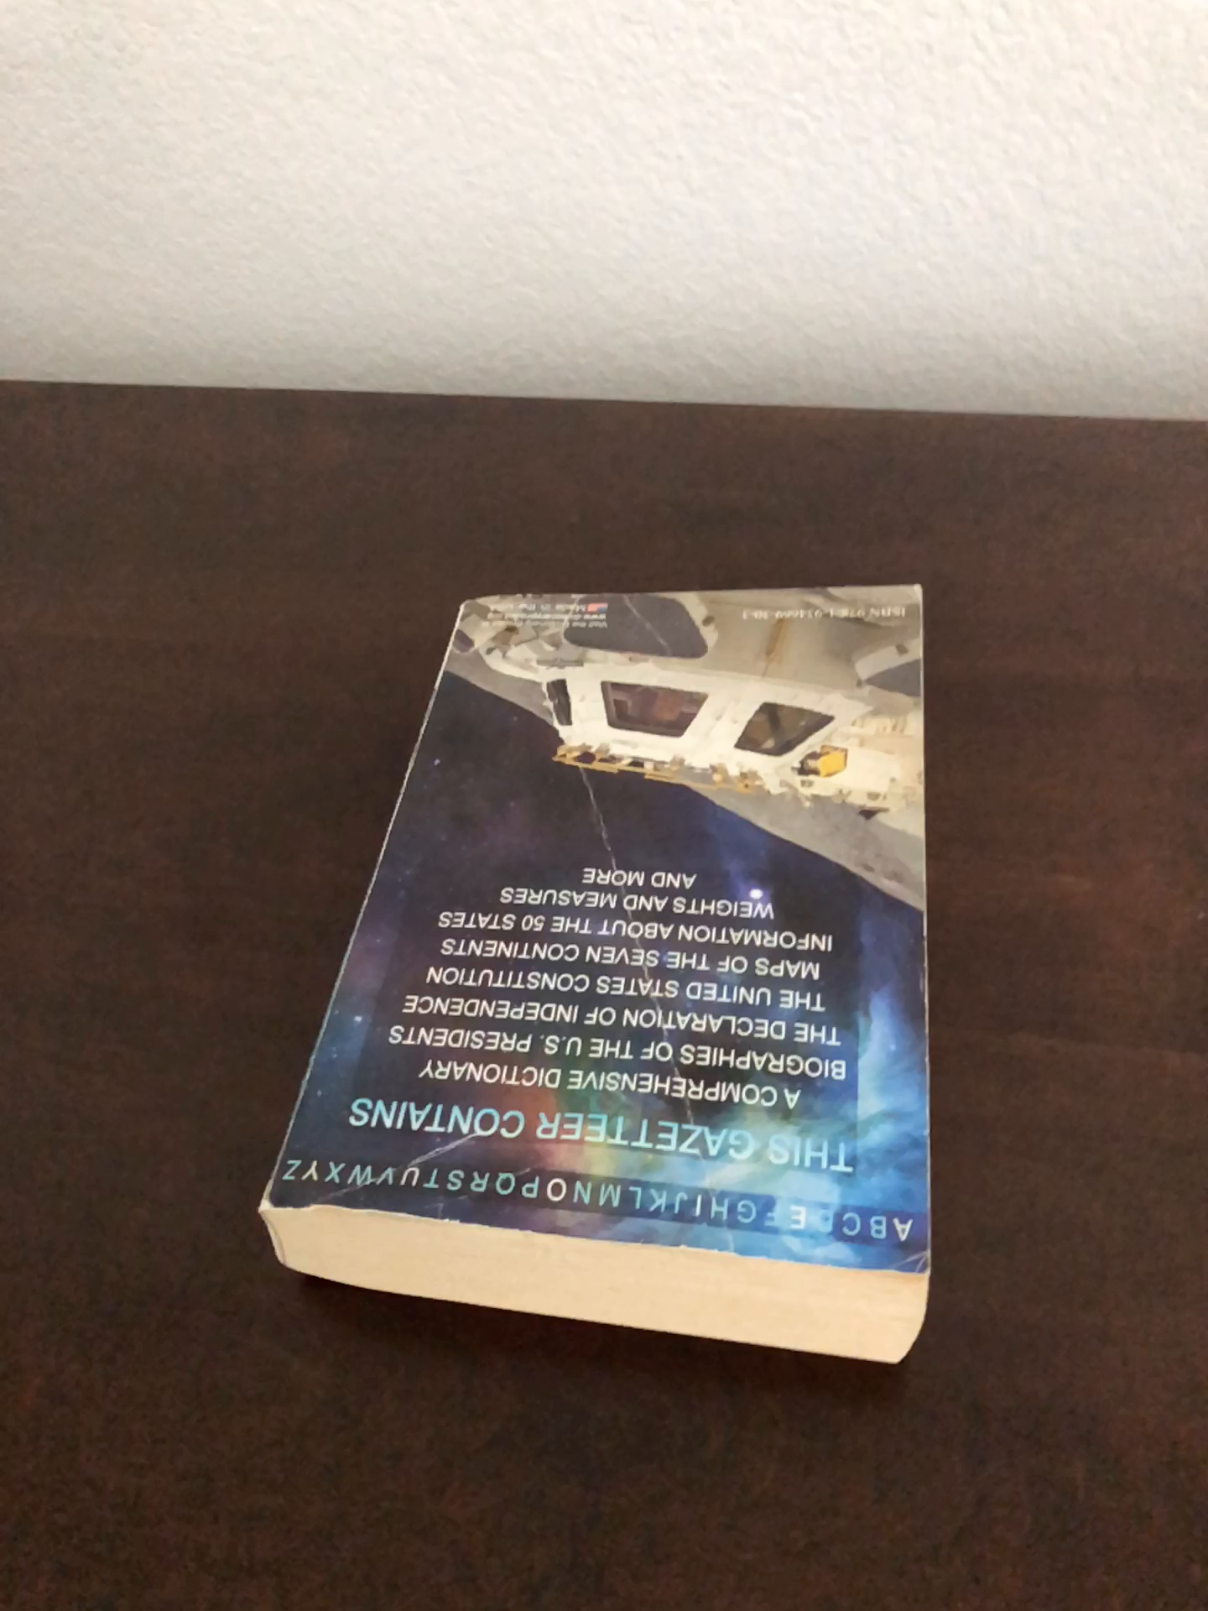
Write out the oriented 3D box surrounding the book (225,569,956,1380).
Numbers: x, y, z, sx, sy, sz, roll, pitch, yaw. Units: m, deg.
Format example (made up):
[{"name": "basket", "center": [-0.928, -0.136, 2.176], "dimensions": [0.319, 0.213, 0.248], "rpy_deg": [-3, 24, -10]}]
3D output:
[{"name": "book", "center": [0.013, 0.024, 0.327], "dimensions": [0.140, 0.040, 0.197], "rpy_deg": [1, 50, 14]}]
